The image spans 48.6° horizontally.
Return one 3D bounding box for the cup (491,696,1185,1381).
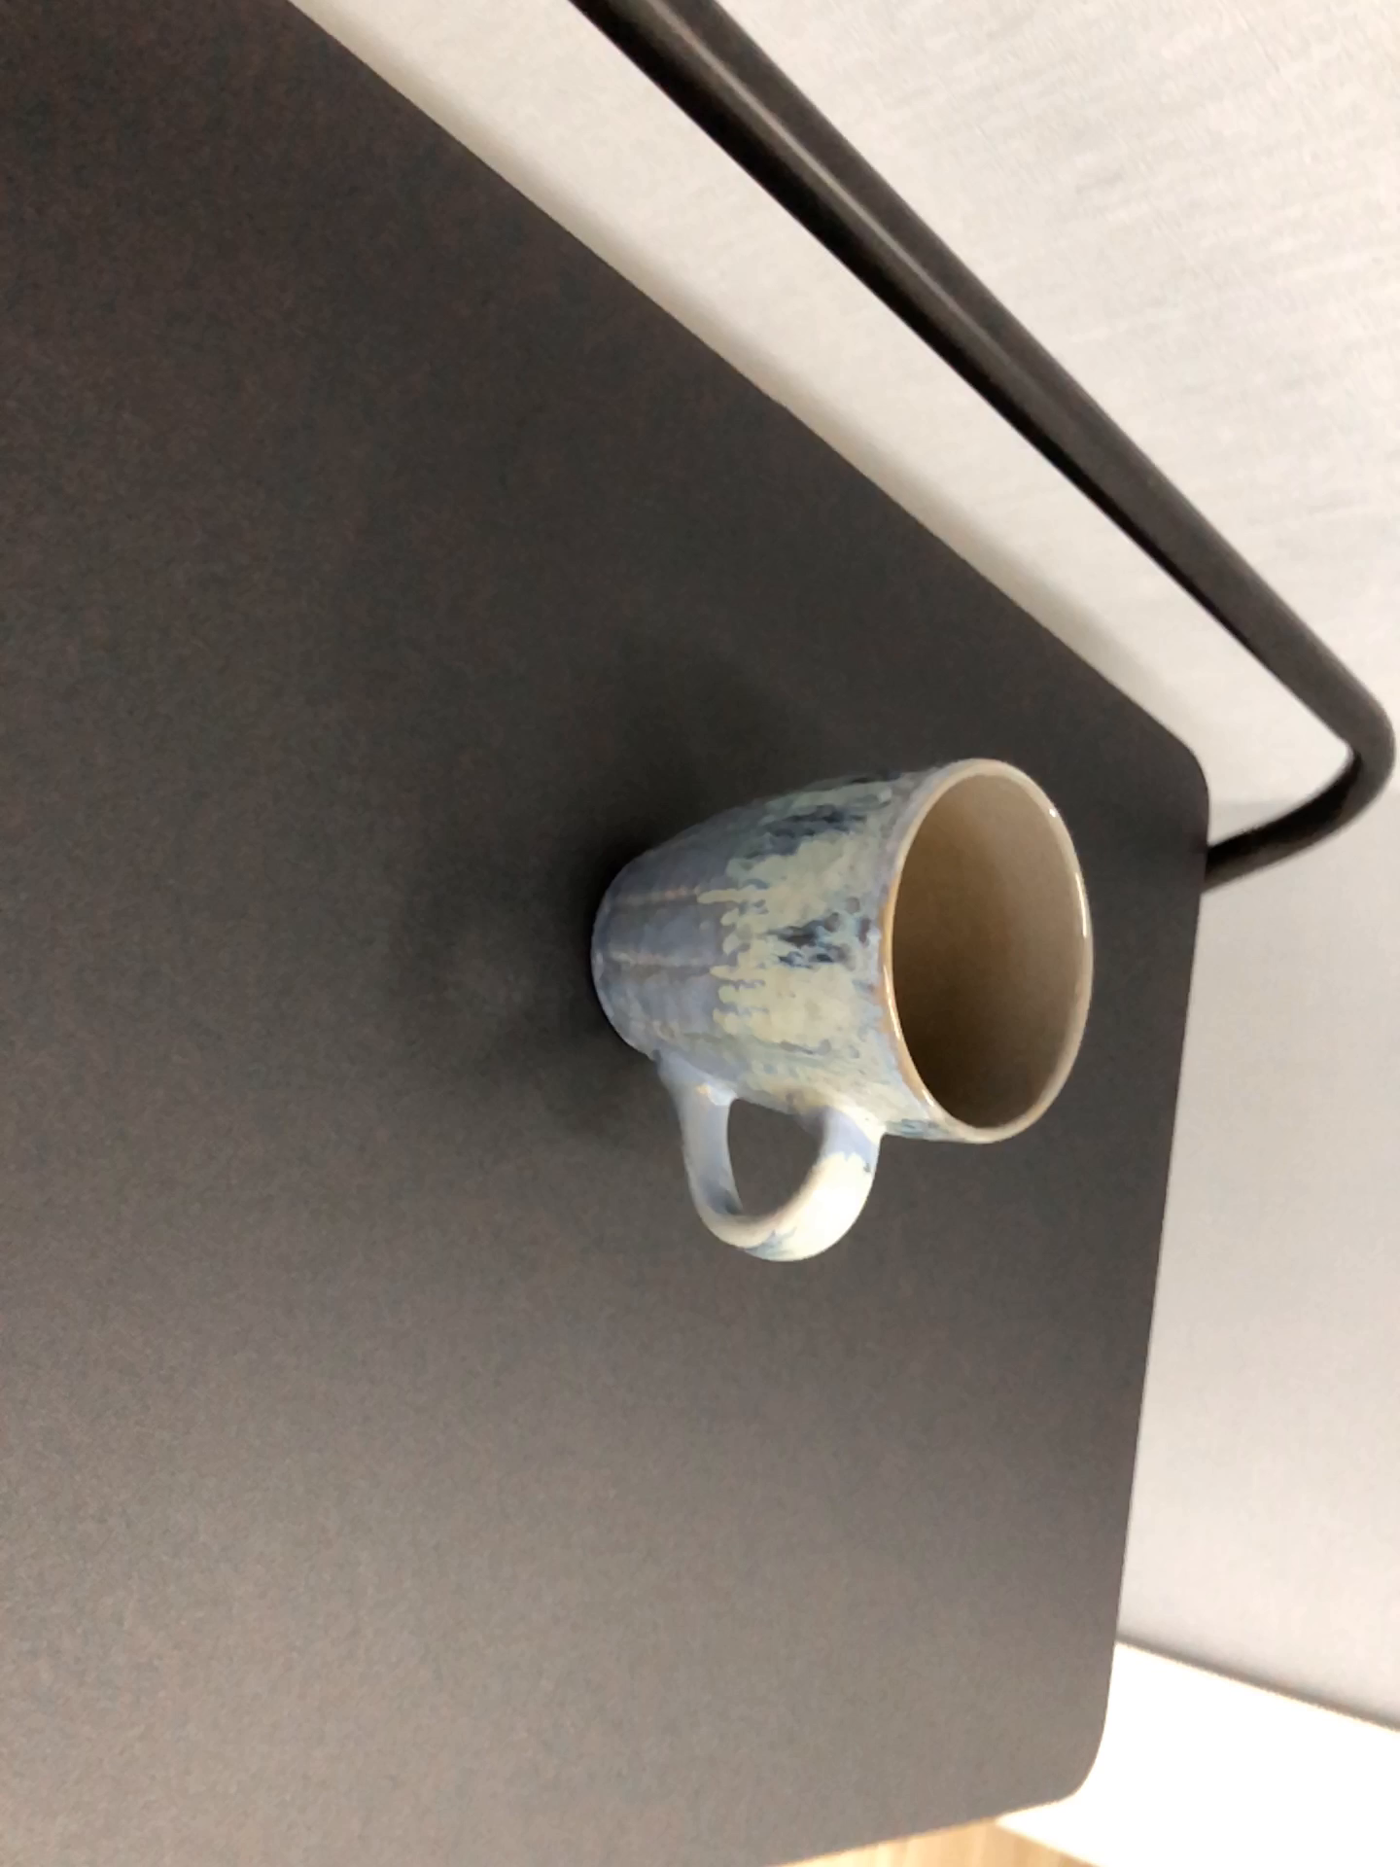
[{"bbox_3d":[0.035,0.027,0.365,0.089,0.107,0.120,33,64,-40],"label":"cup"}]
